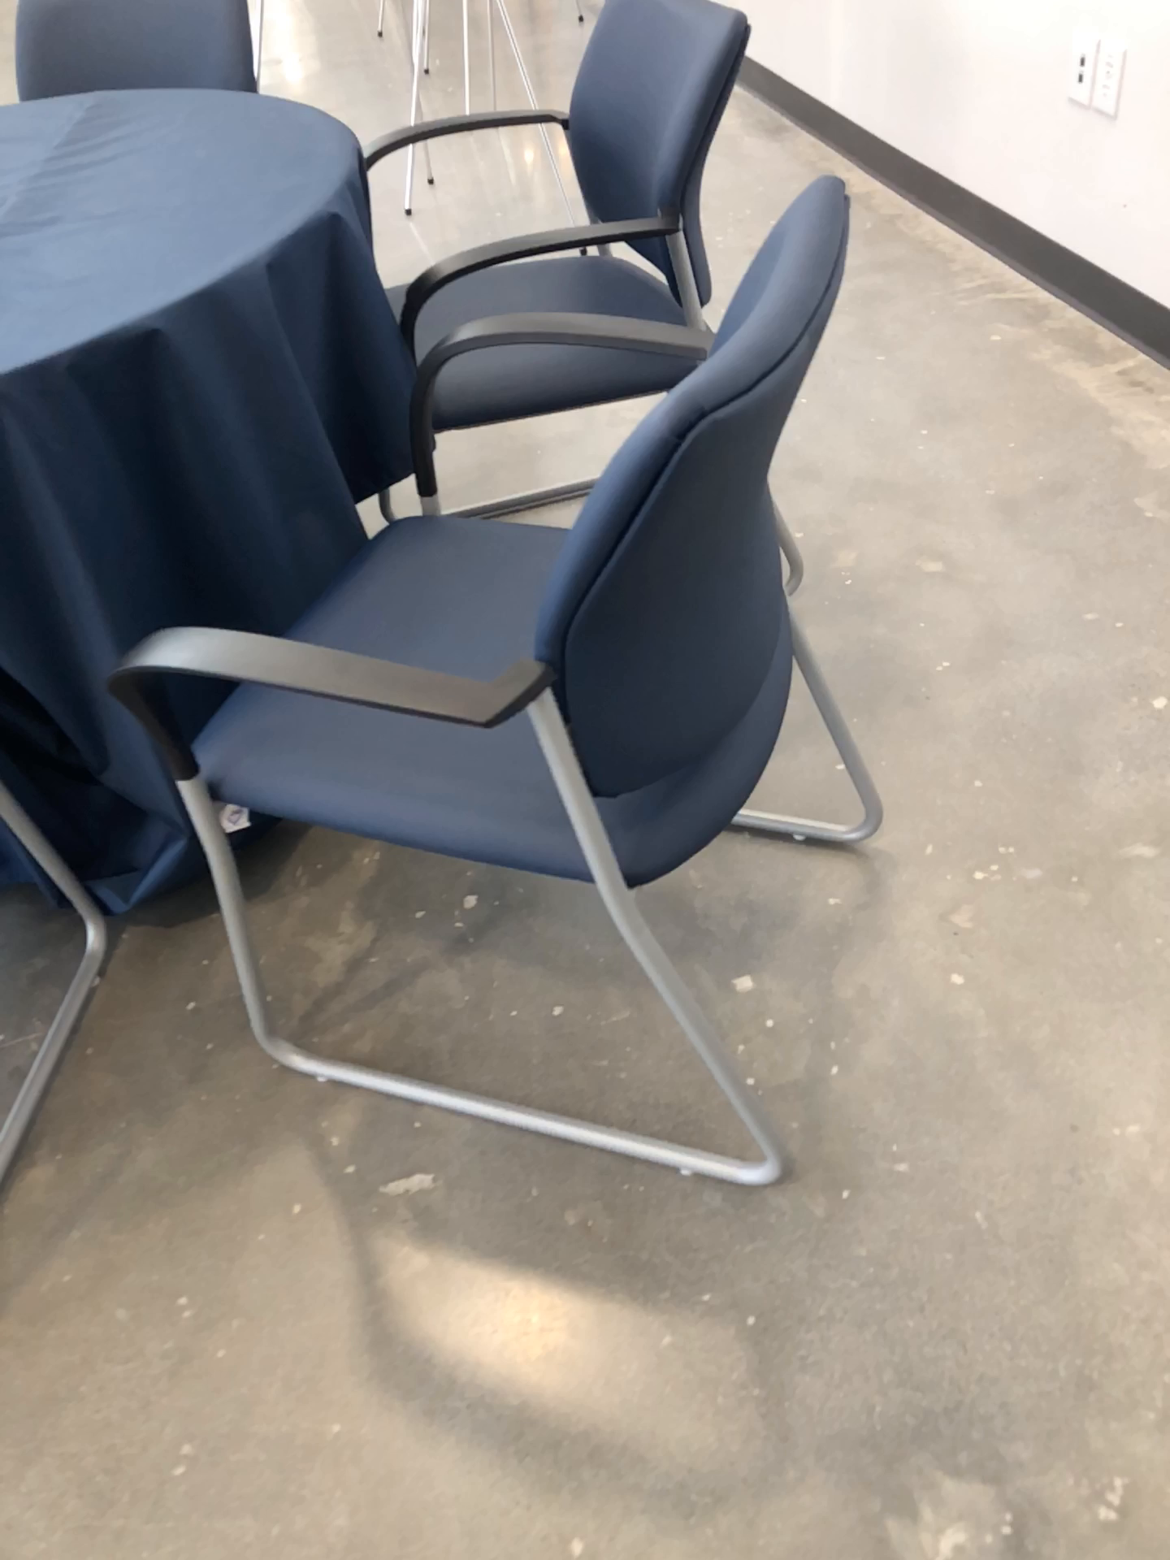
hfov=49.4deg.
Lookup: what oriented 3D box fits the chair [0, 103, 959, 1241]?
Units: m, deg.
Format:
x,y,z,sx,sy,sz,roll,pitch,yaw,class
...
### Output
x,y,z,sx,sy,sz,roll,pitch,yaw,class
-0.058,-0.125,1.225,0.671,0.764,0.644,9,45,19,chair
